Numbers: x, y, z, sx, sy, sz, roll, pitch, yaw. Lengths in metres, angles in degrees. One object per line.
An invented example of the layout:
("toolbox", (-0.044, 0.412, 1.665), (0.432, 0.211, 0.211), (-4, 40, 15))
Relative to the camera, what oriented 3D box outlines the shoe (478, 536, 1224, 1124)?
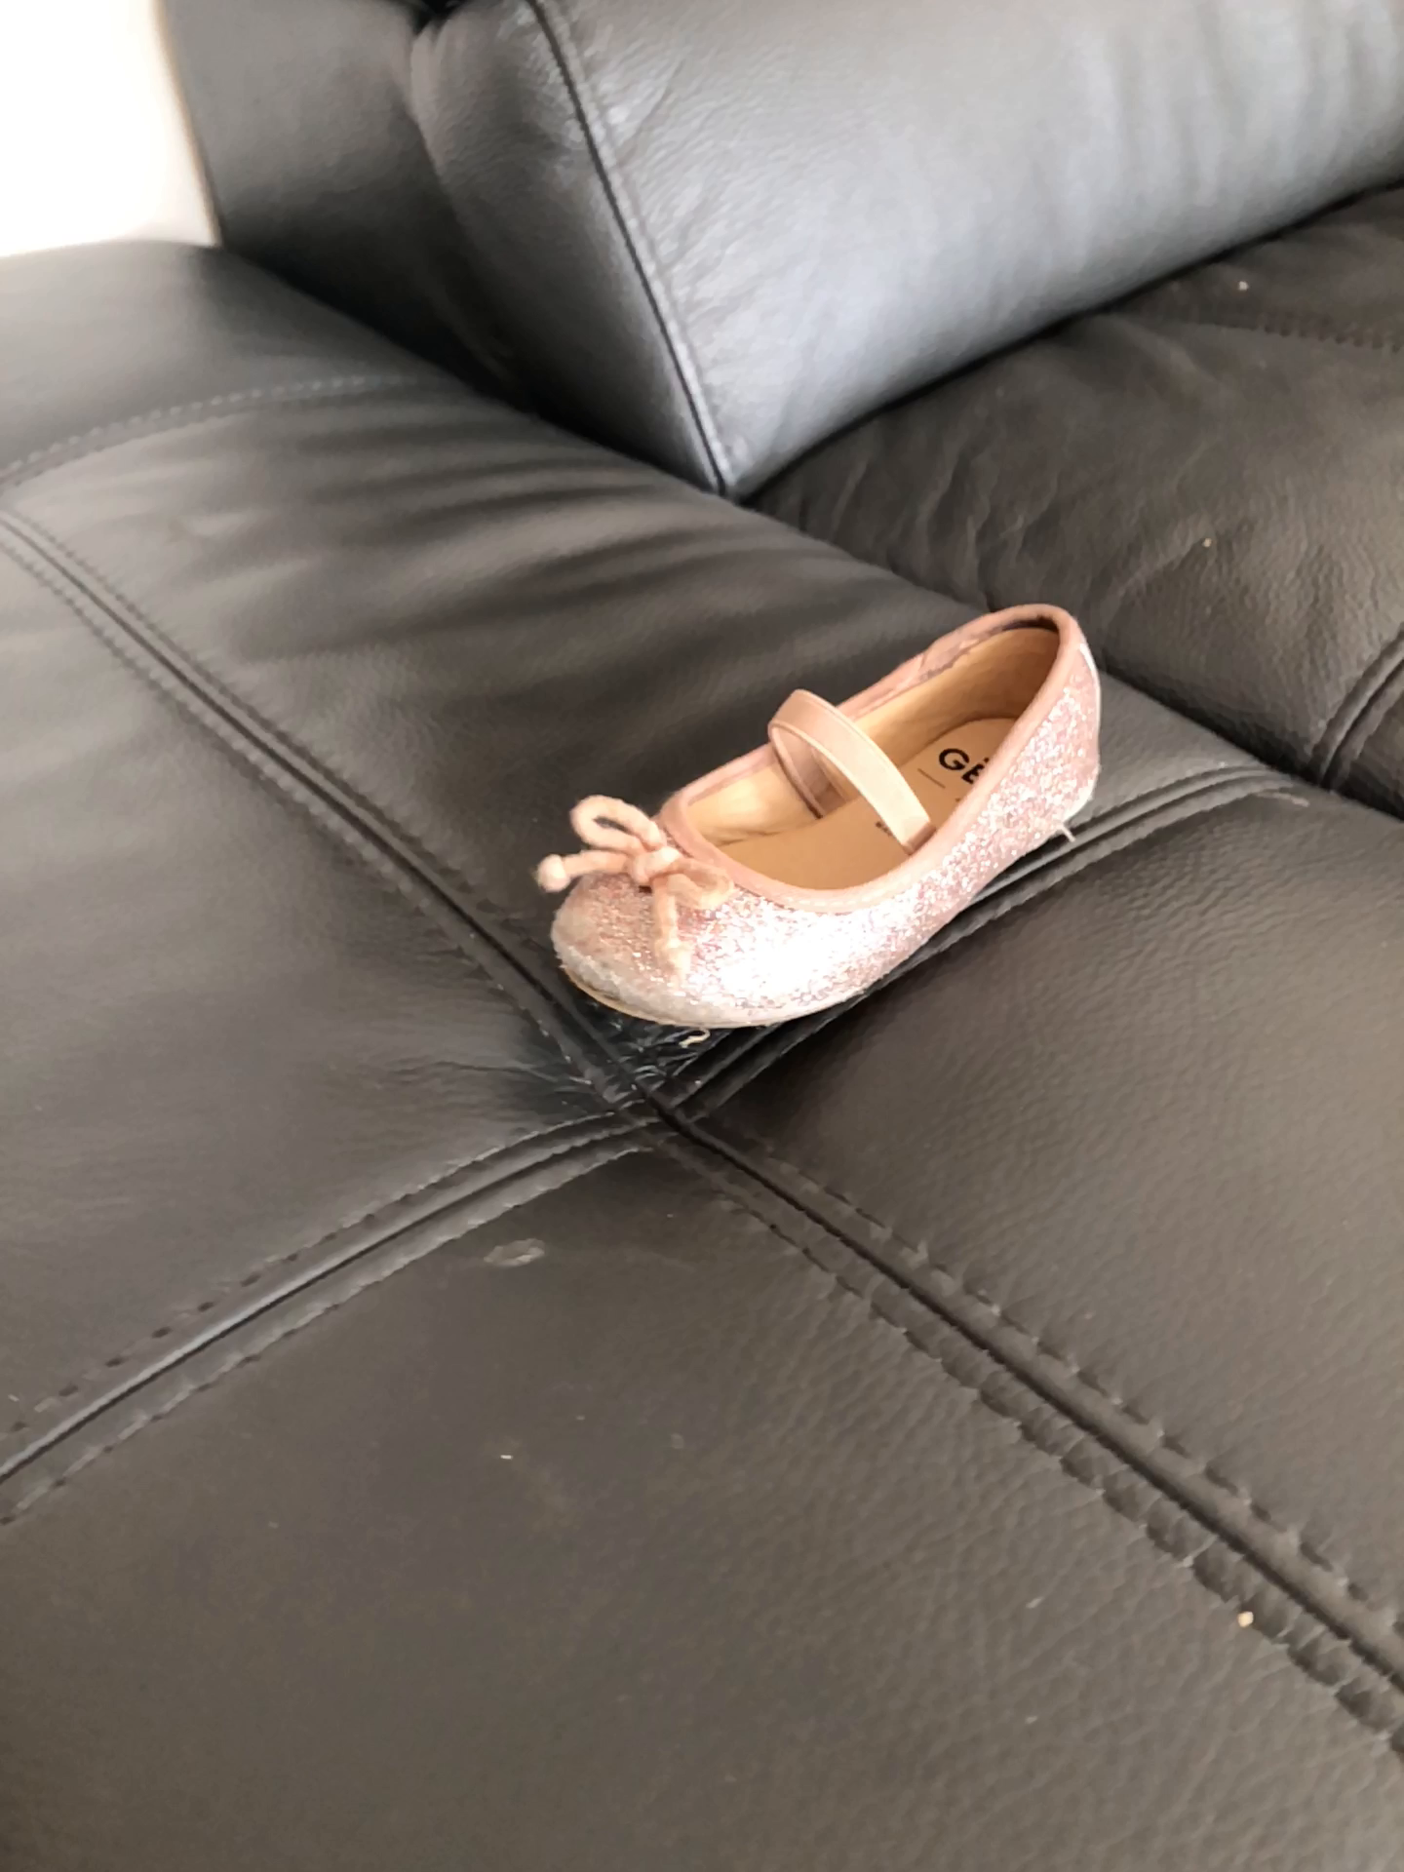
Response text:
("shoe", (0.038, -0.033, 0.352), (0.161, 0.040, 0.070), (-33, 49, -28))
